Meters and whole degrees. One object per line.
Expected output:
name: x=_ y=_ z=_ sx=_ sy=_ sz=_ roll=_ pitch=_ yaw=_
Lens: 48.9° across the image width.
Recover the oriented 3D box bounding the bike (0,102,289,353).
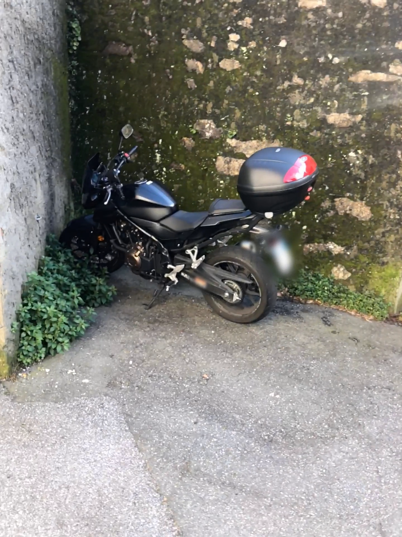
bike: x=-0.406 y=-0.368 z=3.176 sx=1.784 sy=1.199 sz=0.713 roll=14 pitch=18 yaw=17
